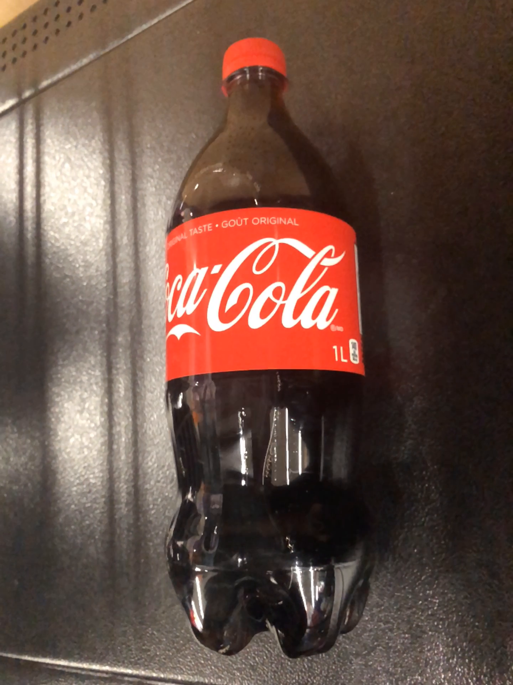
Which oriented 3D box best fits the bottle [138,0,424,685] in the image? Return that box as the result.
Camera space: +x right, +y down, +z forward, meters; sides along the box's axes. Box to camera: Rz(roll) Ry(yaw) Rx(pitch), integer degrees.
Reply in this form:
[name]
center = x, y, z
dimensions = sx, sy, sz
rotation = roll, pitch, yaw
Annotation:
[bottle]
center = 0.009, -0.010, 0.247
dimensions = 0.080, 0.080, 0.260
rotation = -9, 79, 31
